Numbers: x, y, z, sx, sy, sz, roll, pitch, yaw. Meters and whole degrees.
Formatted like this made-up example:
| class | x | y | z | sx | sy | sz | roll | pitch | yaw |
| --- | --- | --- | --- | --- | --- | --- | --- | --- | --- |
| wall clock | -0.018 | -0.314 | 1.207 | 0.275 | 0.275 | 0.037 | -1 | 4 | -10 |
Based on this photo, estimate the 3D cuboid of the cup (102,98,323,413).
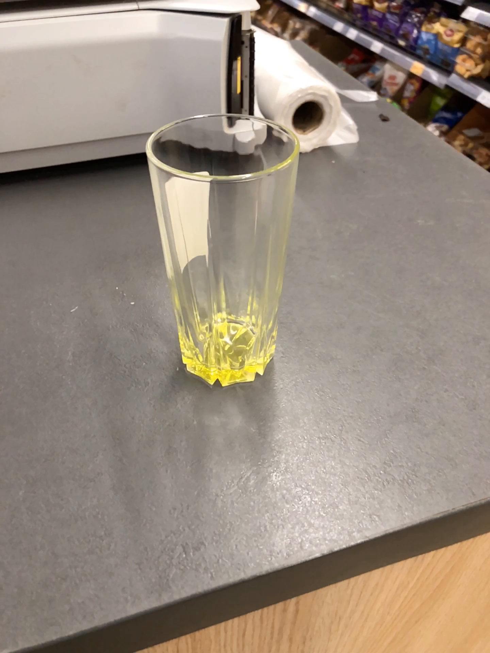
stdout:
| class | x | y | z | sx | sy | sz | roll | pitch | yaw |
| --- | --- | --- | --- | --- | --- | --- | --- | --- | --- |
| cup | -0.013 | -0.036 | 0.289 | 0.070 | 0.134 | 0.075 | 0 | 42 | 0 |
